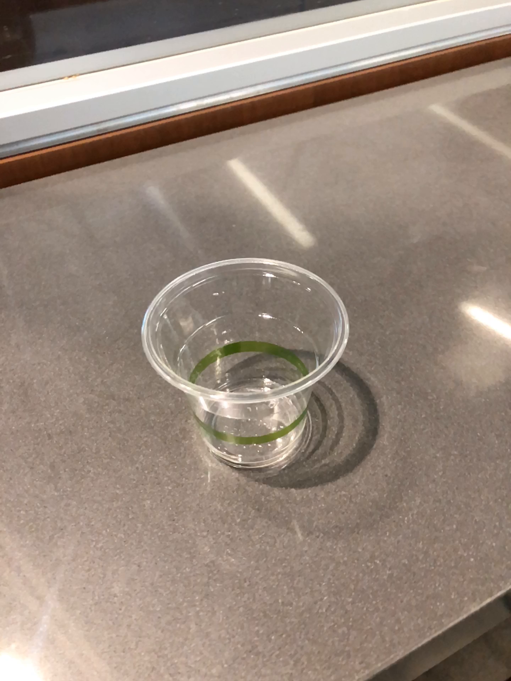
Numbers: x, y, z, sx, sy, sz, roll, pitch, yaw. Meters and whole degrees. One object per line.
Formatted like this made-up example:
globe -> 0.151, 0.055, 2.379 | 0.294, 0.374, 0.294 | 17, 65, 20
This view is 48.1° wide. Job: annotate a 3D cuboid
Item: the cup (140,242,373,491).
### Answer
cup -> 0.001, 0.009, 0.218 | 0.070, 0.060, 0.070 | -2, 43, 2
